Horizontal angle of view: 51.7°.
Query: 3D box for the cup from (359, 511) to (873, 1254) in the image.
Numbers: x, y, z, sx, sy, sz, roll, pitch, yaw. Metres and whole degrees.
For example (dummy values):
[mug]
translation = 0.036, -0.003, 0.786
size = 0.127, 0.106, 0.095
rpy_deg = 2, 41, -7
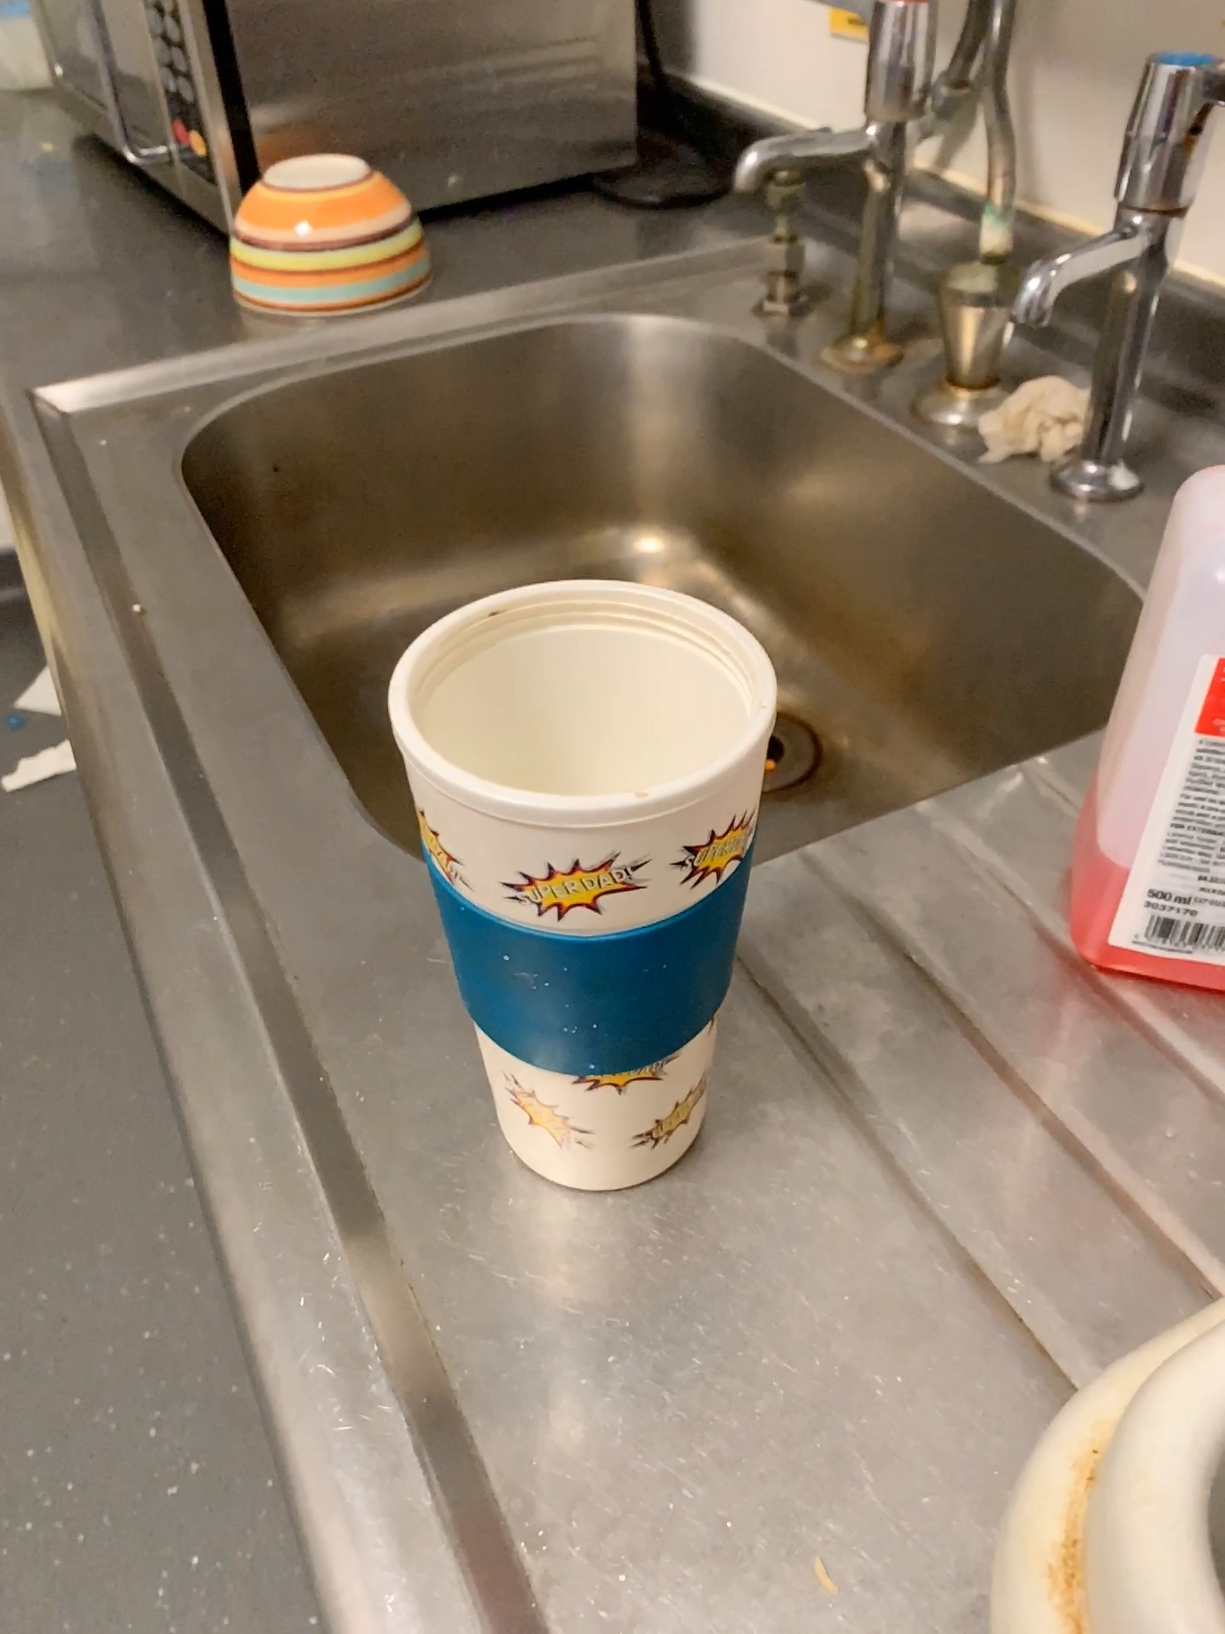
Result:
[cup]
translation = -0.002, 0.021, 0.346
size = 0.092, 0.167, 0.090
rpy_deg = -1, 41, 1
